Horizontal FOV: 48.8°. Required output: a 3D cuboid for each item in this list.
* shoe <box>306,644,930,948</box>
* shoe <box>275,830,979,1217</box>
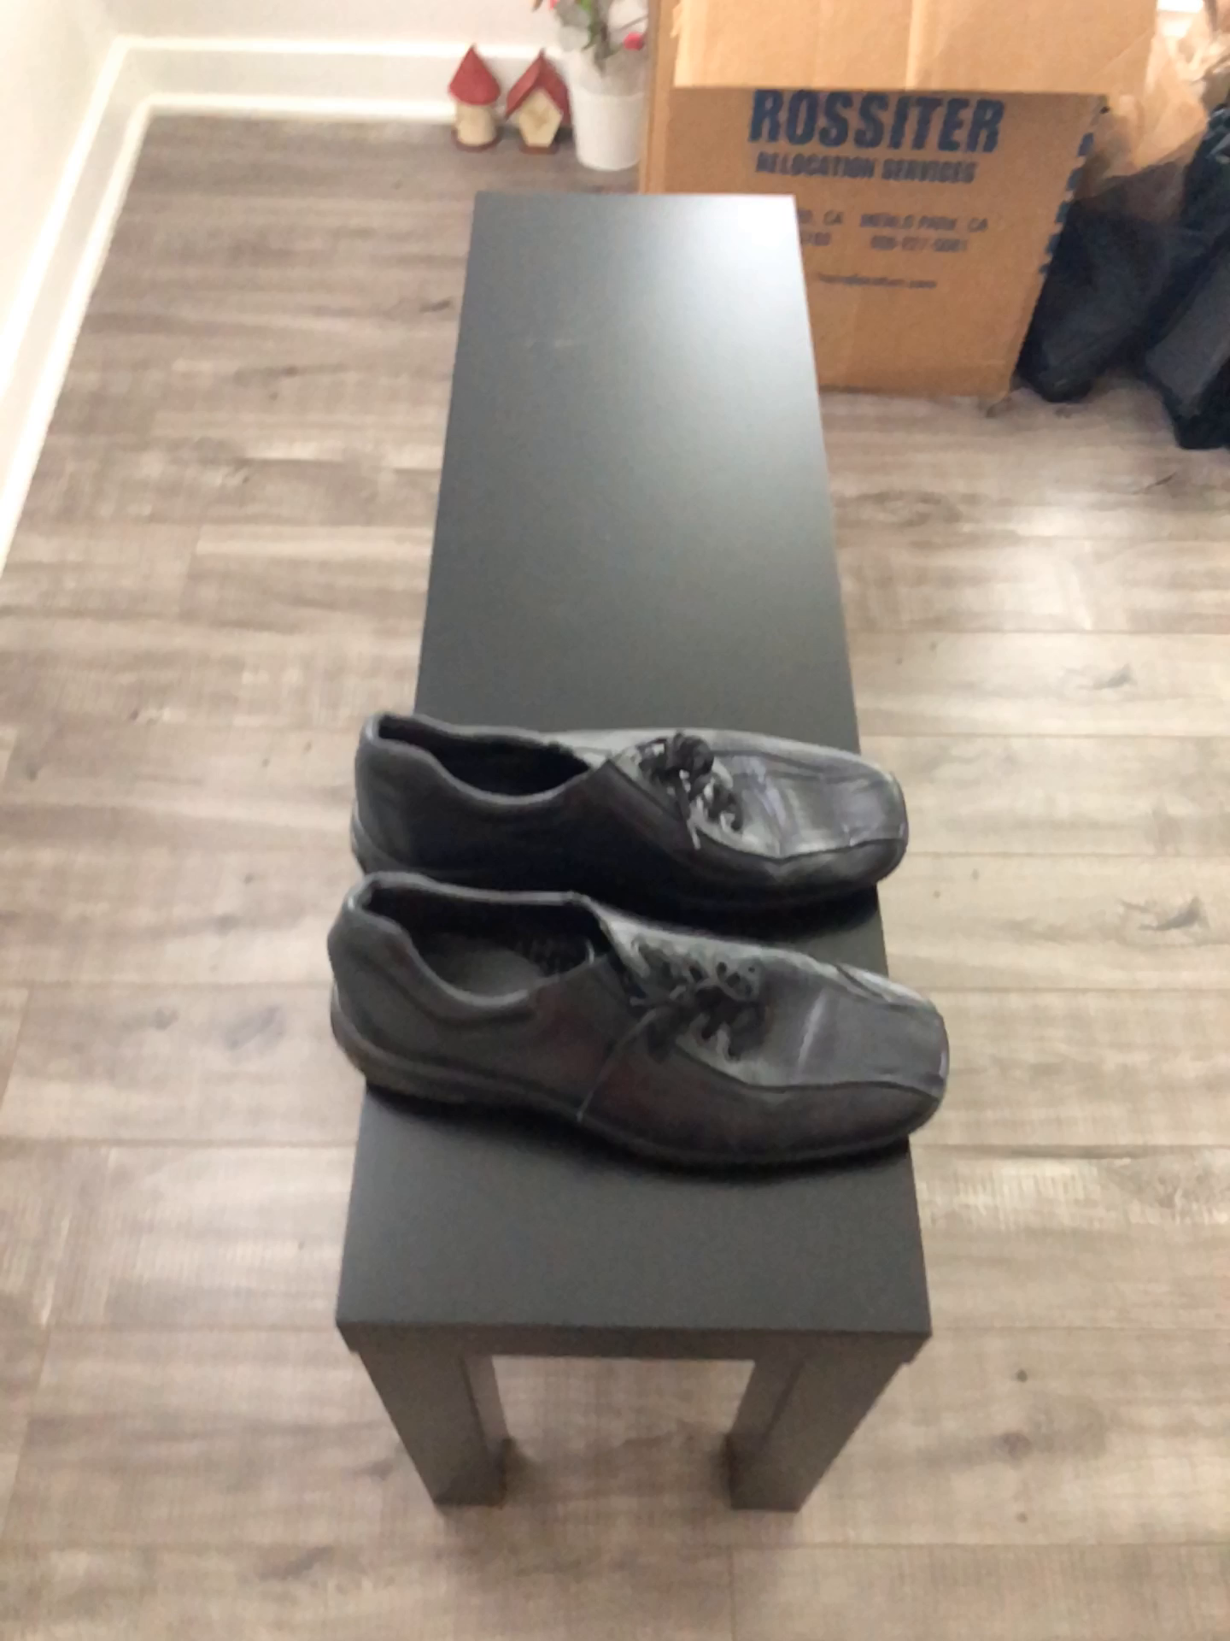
[{"bbox_3d":[0.000,-0.011,0.690,0.283,0.110,0.110,0,55,-2],"label":"shoe"},{"bbox_3d":[0.007,0.095,0.624,0.286,0.110,0.110,6,55,2],"label":"shoe"}]
